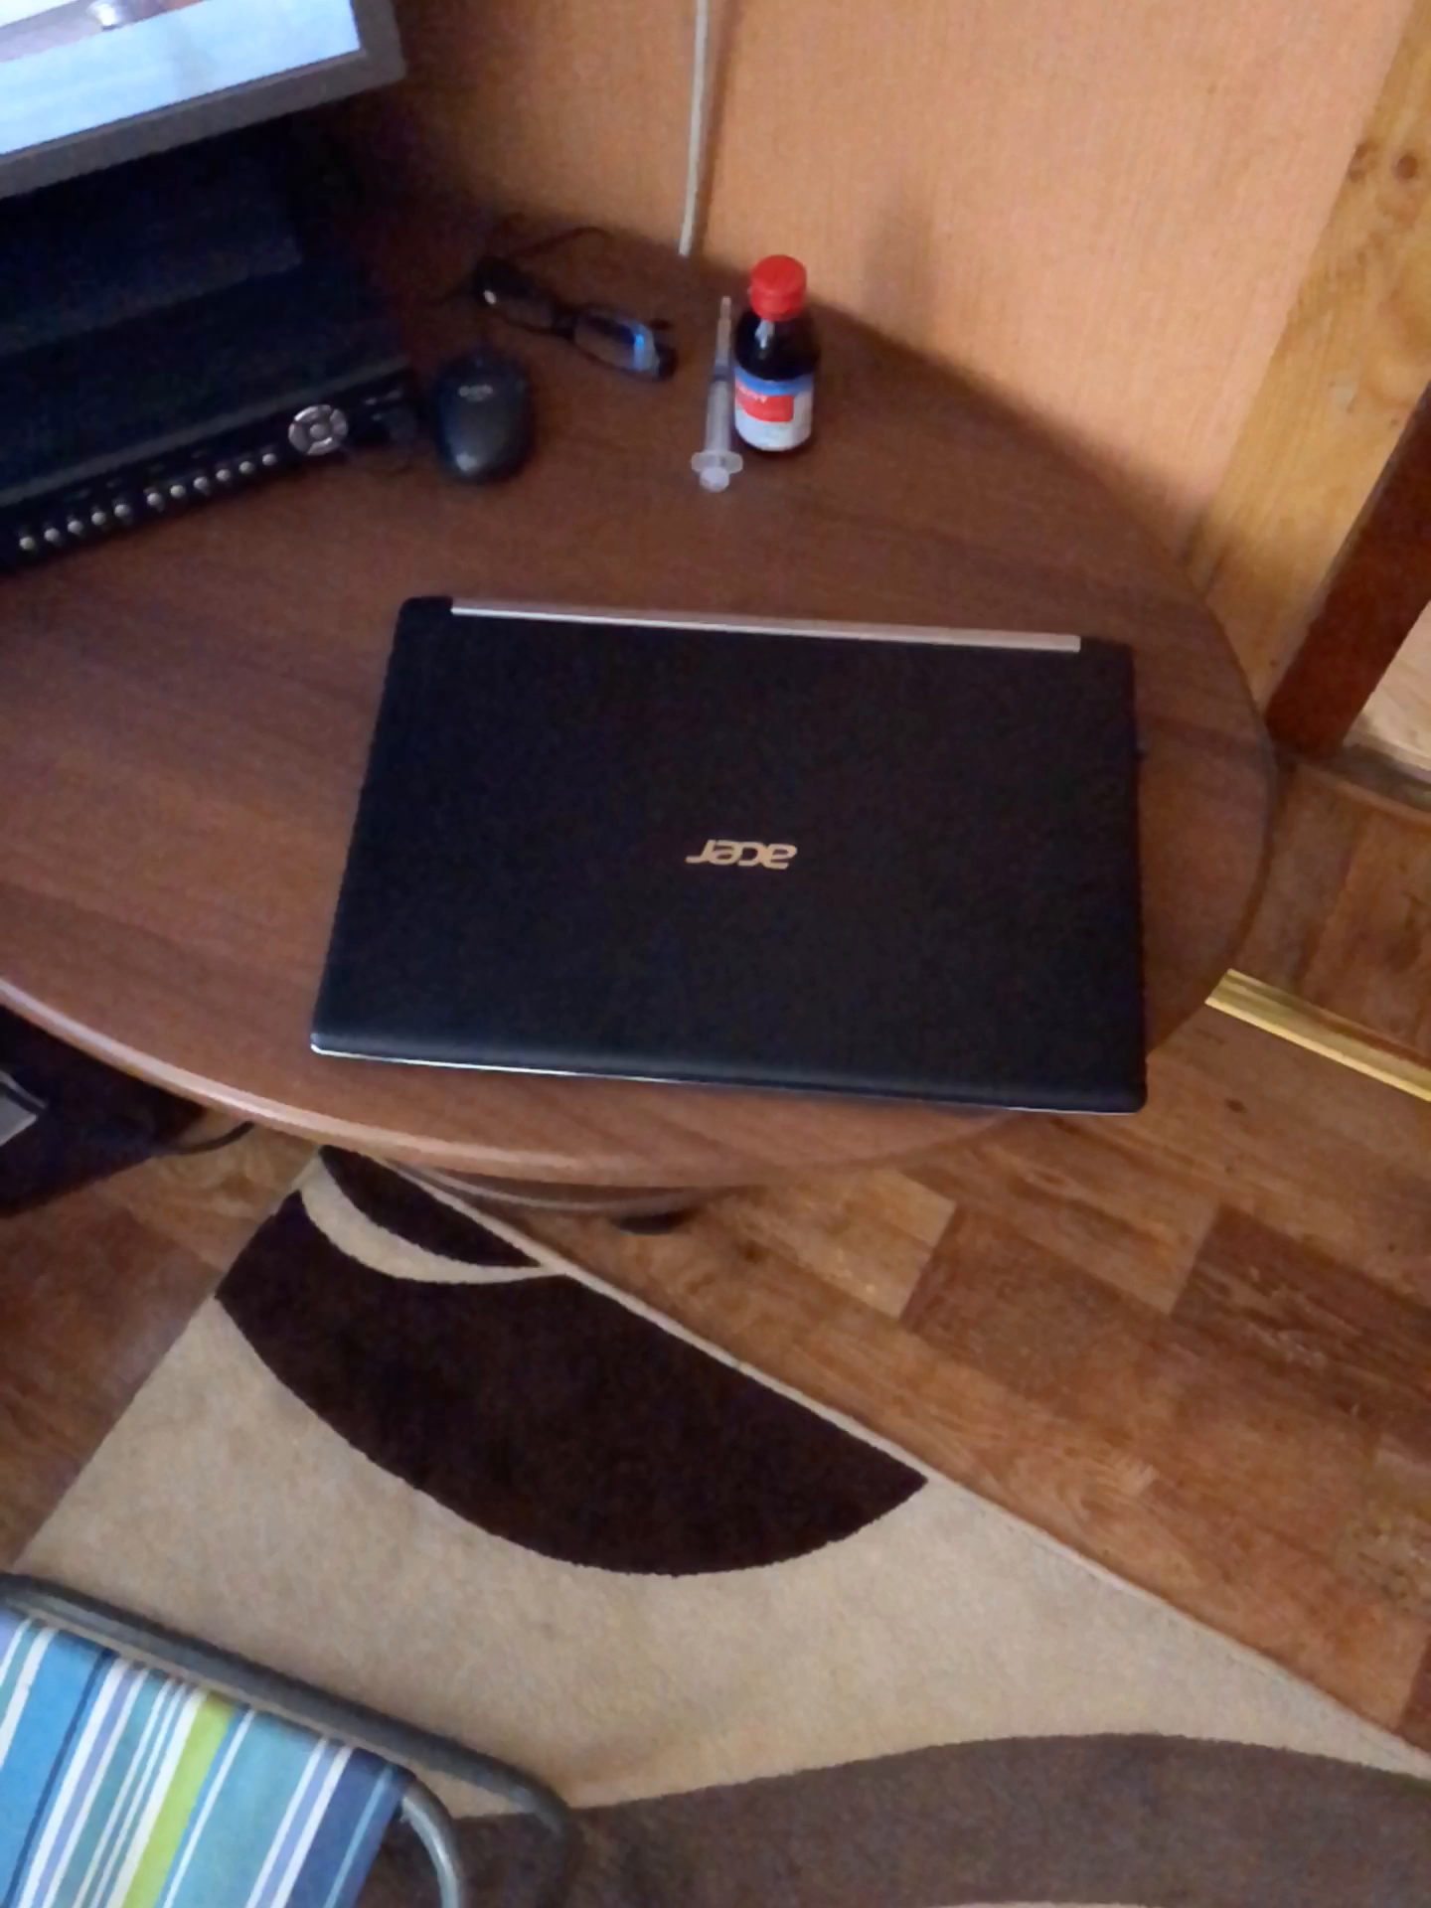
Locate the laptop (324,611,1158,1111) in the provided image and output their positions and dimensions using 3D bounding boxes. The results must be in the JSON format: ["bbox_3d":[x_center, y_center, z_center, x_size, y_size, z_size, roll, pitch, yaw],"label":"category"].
[{"bbox_3d":[0.021,-0.052,0.738,0.363,0.004,0.240,4,64,2],"label":"laptop"}]
